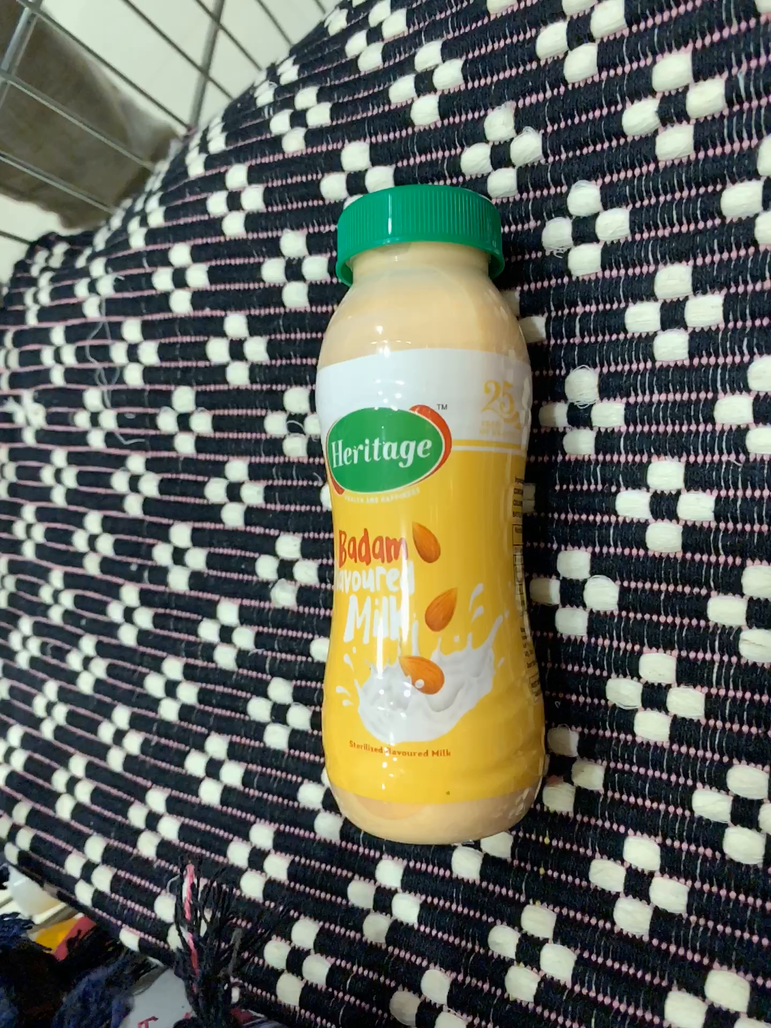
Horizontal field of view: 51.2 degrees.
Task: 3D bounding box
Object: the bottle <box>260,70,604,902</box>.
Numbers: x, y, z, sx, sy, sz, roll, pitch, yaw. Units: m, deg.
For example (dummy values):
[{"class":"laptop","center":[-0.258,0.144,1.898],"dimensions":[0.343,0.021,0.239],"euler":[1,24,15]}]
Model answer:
[{"class":"bottle","center":[0.012,-0.006,0.176],"dimensions":[0.060,0.040,0.150],"euler":[-1,84,28]}]
